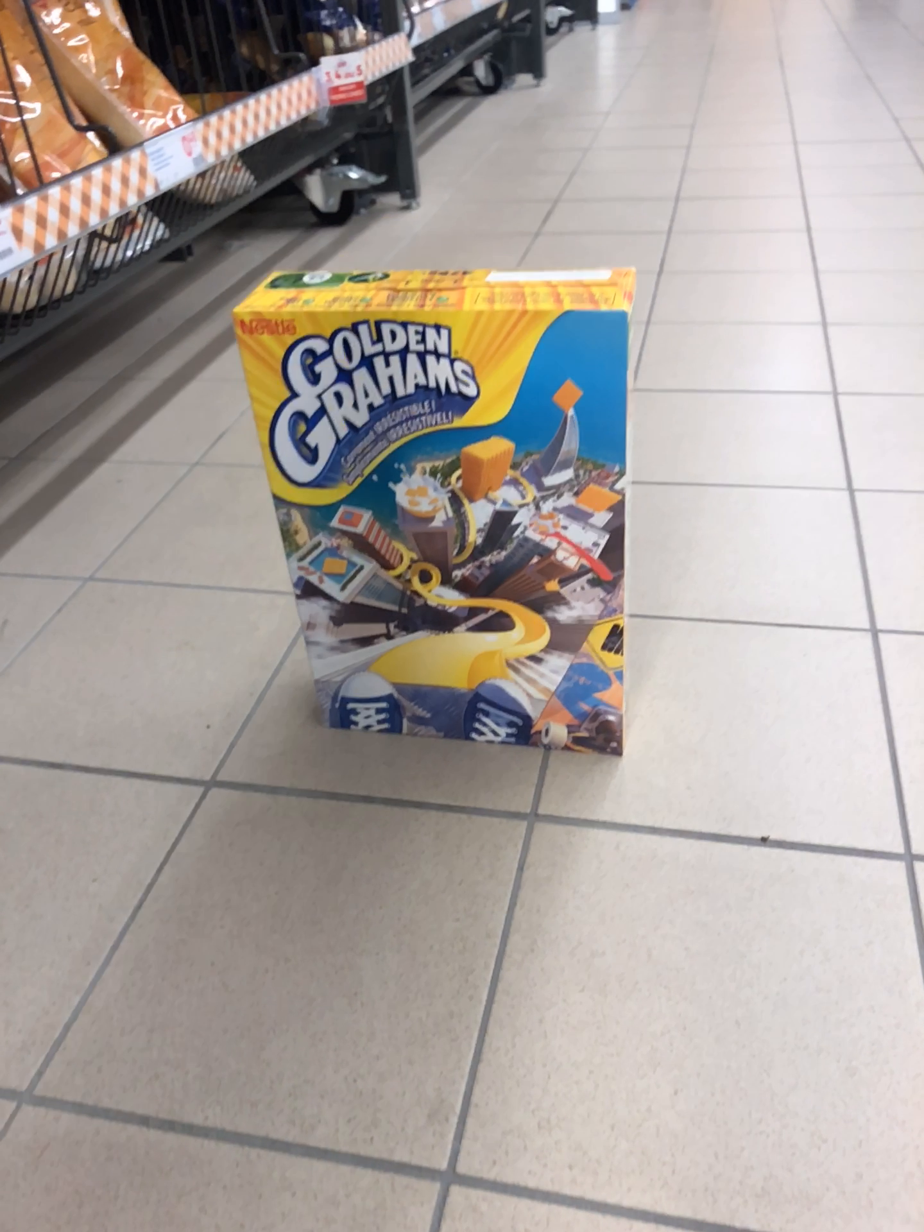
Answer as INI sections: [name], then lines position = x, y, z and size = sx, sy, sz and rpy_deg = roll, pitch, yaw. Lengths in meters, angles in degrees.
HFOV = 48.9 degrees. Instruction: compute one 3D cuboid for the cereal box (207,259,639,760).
[cereal box]
position = -0.008, -0.052, 0.569
size = 0.200, 0.268, 0.070
rpy_deg = 3, 35, 11
